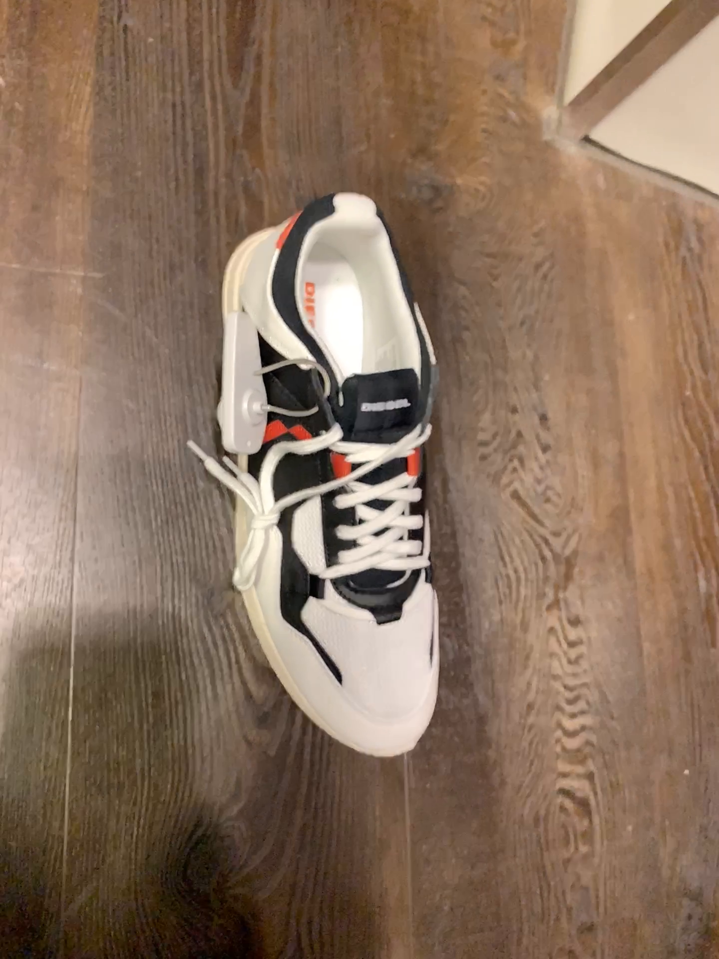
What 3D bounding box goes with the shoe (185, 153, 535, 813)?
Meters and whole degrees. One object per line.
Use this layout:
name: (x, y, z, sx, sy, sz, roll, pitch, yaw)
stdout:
shoe: (-0.010, -0.003, 0.405, 0.110, 0.110, 0.300, -6, 83, -24)
